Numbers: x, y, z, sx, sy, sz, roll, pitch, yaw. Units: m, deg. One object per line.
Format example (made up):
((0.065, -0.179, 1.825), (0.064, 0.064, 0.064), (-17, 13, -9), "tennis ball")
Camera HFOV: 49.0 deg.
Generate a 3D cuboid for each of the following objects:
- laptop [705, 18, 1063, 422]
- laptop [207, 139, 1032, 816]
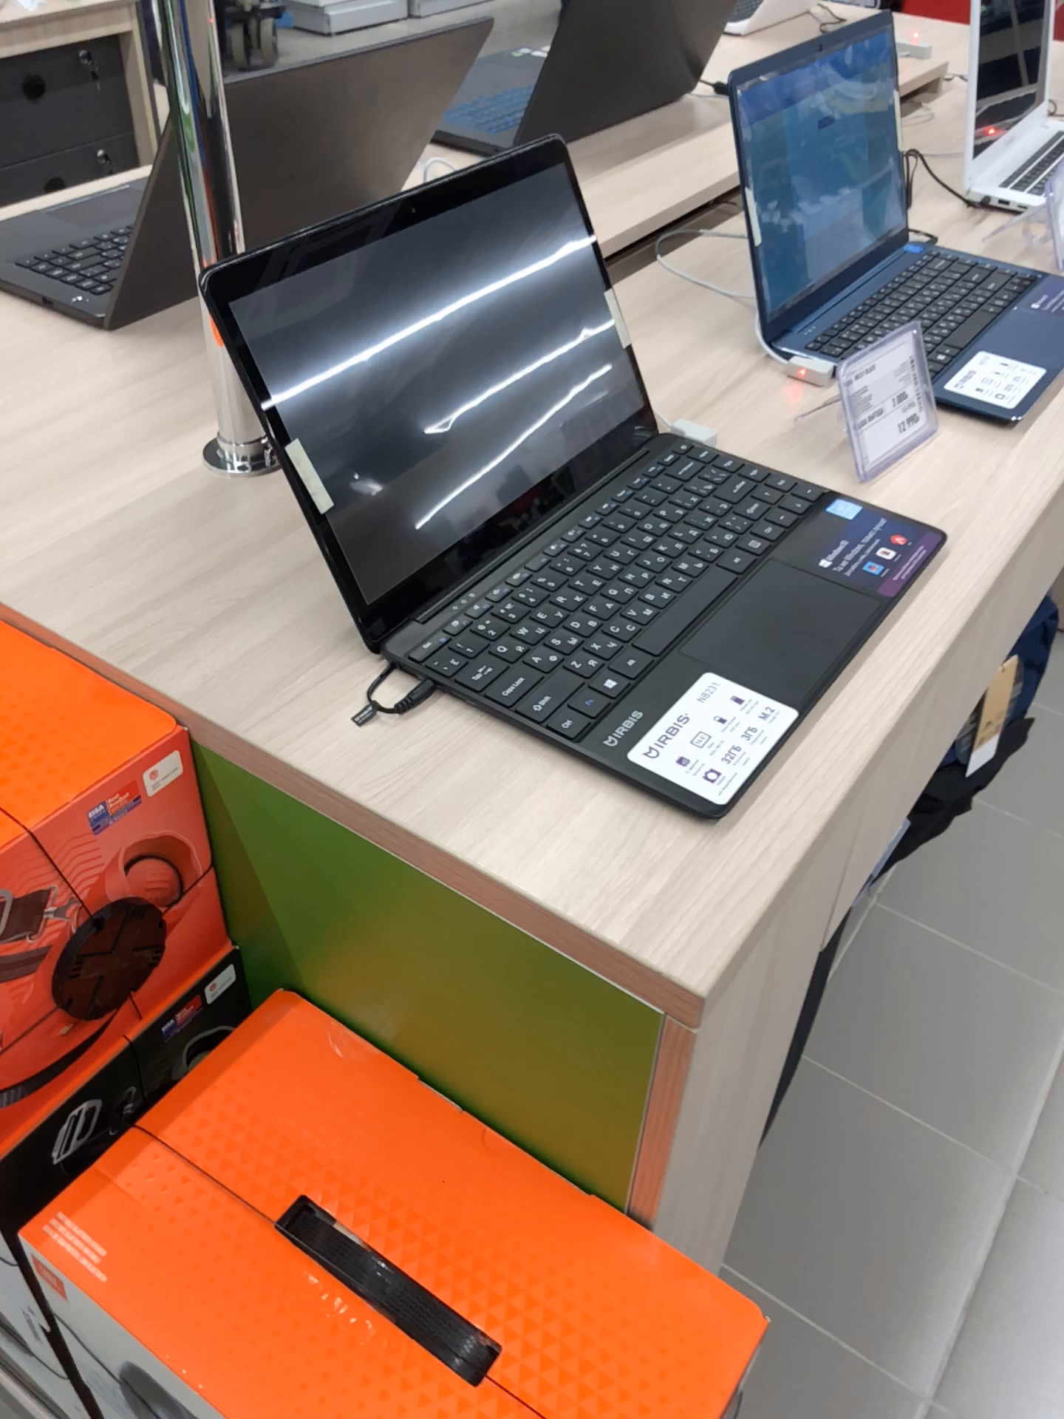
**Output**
((0.342, -0.418, 0.958), (0.266, 0.186, 0.309), (26, 46, 26), "laptop")
((0.053, -0.159, 0.648), (0.306, 0.172, 0.305), (26, 46, 24), "laptop")
